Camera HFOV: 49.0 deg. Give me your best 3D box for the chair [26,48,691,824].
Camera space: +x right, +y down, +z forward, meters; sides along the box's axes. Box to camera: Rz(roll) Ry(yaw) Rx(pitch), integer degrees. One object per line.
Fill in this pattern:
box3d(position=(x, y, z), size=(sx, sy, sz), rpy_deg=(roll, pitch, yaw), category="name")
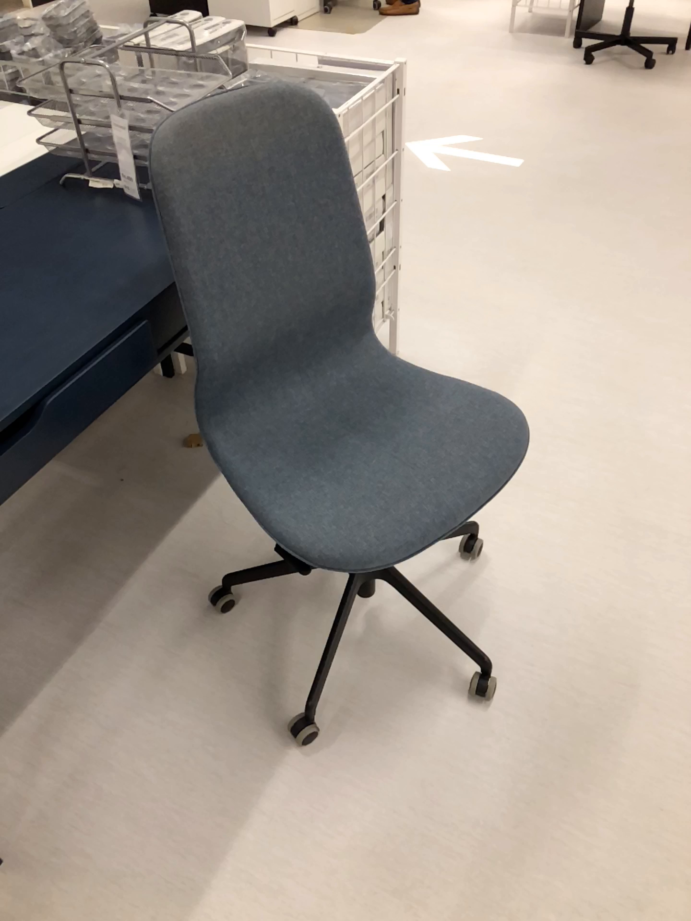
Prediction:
box3d(position=(0.045, -0.056, 1.290), size=(0.642, 0.934, 0.683), rpy_deg=(-31, 50, -27), category="chair")
